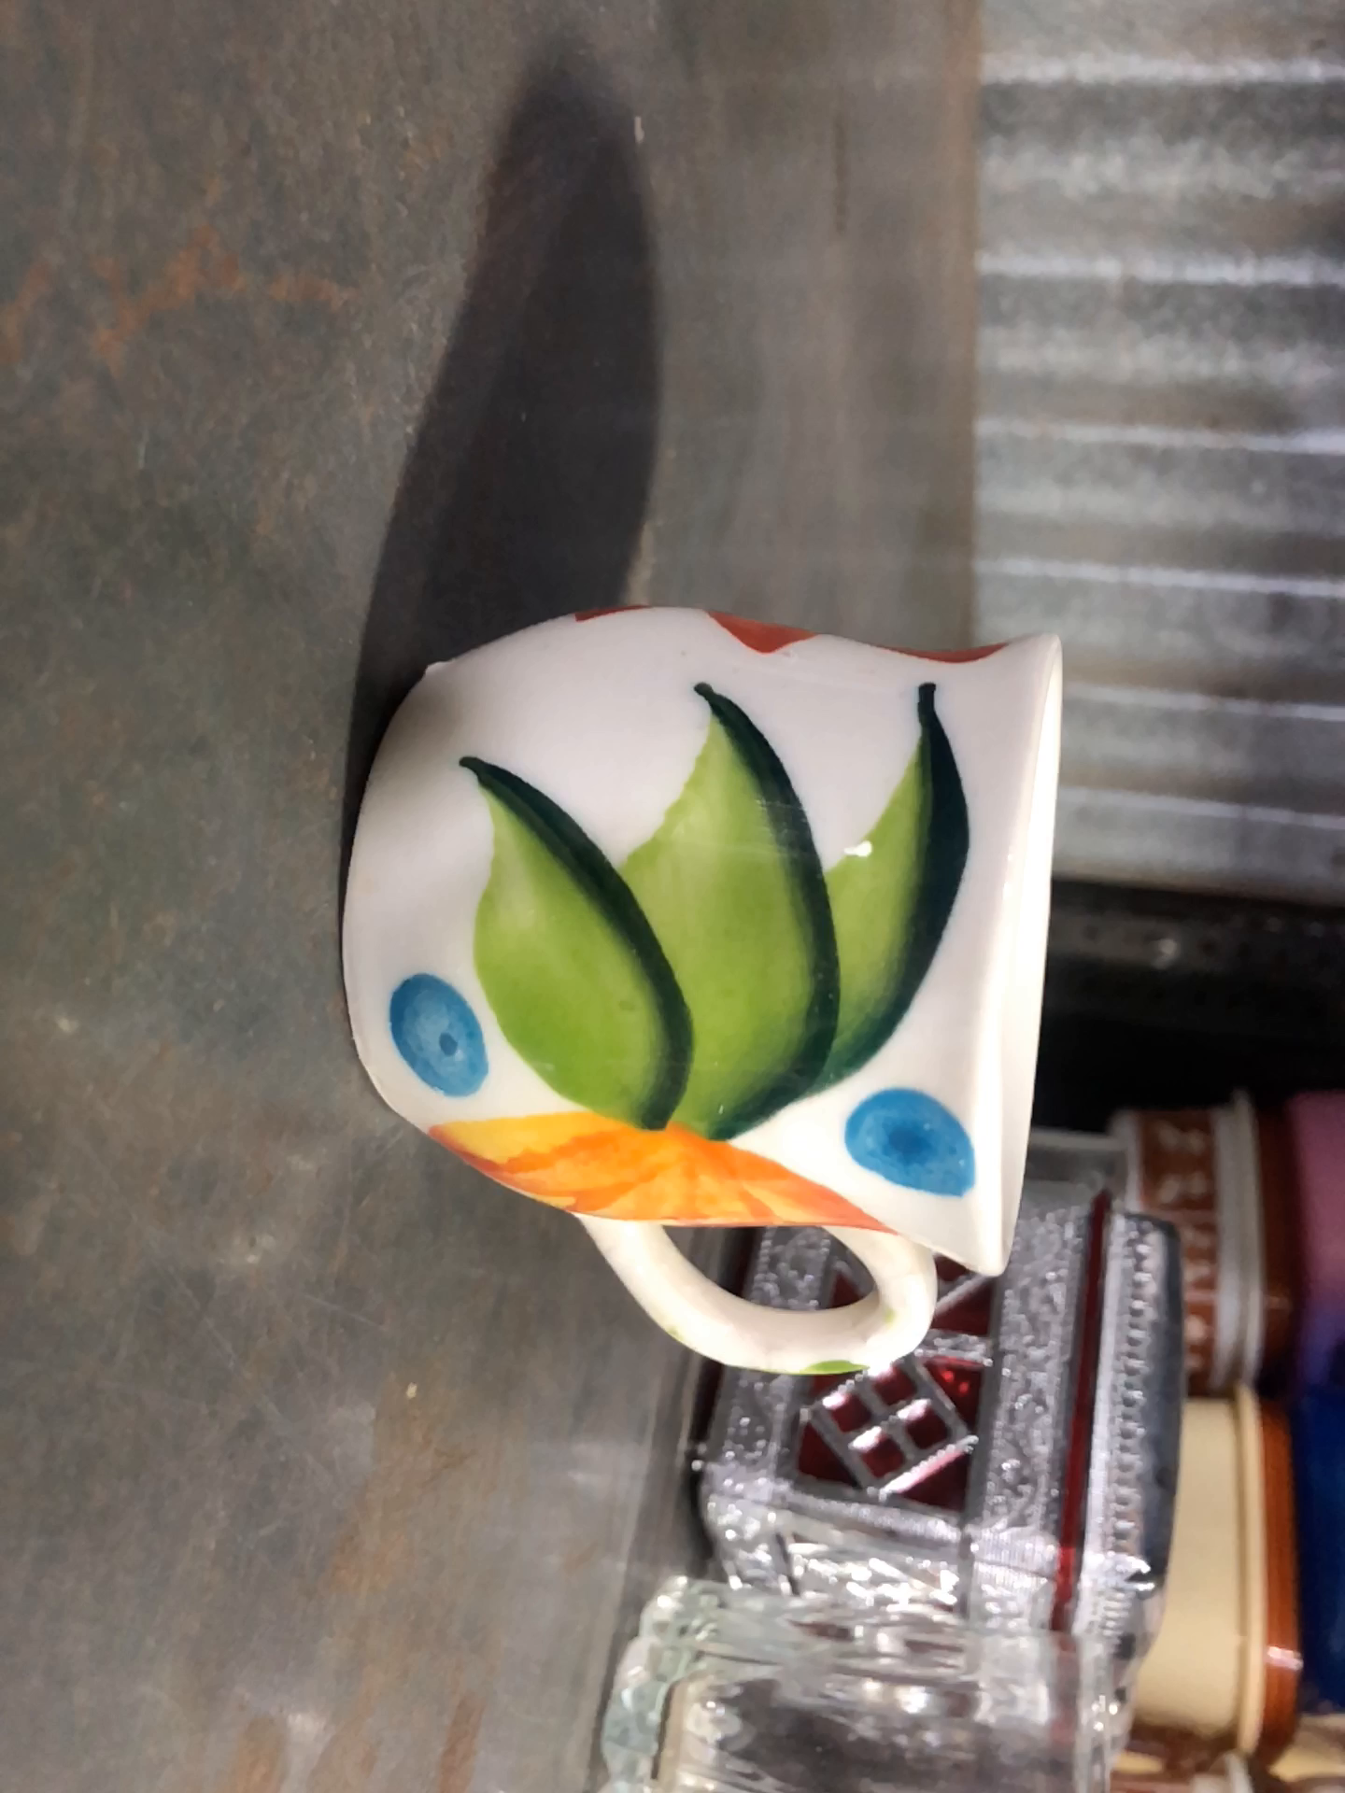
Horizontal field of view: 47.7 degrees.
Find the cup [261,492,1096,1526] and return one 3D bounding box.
[{"bbox_3d":[0.008,0.007,0.178,0.070,0.070,0.090,-60,152,-58],"label":"cup"}]
